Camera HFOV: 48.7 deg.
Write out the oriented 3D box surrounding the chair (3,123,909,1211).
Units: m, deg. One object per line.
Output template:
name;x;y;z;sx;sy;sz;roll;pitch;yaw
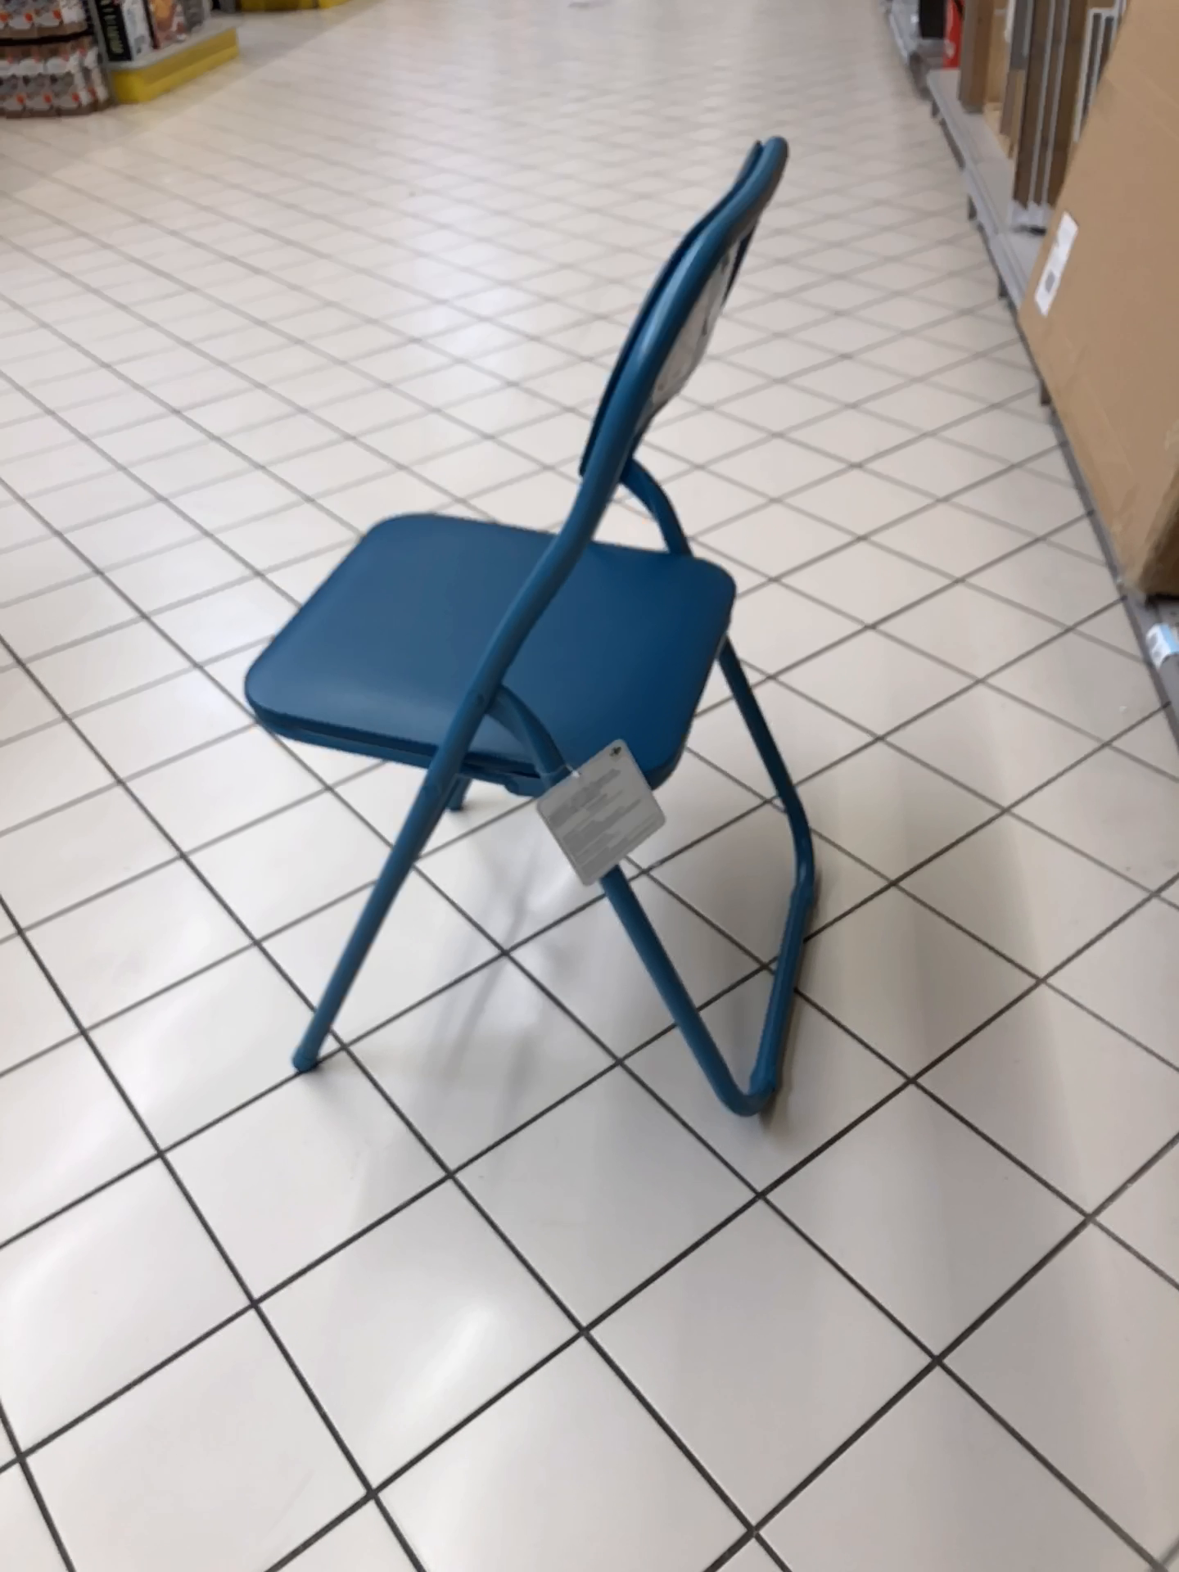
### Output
chair;-0.040;-0.124;1.172;0.500;0.766;0.503;10;37;17
